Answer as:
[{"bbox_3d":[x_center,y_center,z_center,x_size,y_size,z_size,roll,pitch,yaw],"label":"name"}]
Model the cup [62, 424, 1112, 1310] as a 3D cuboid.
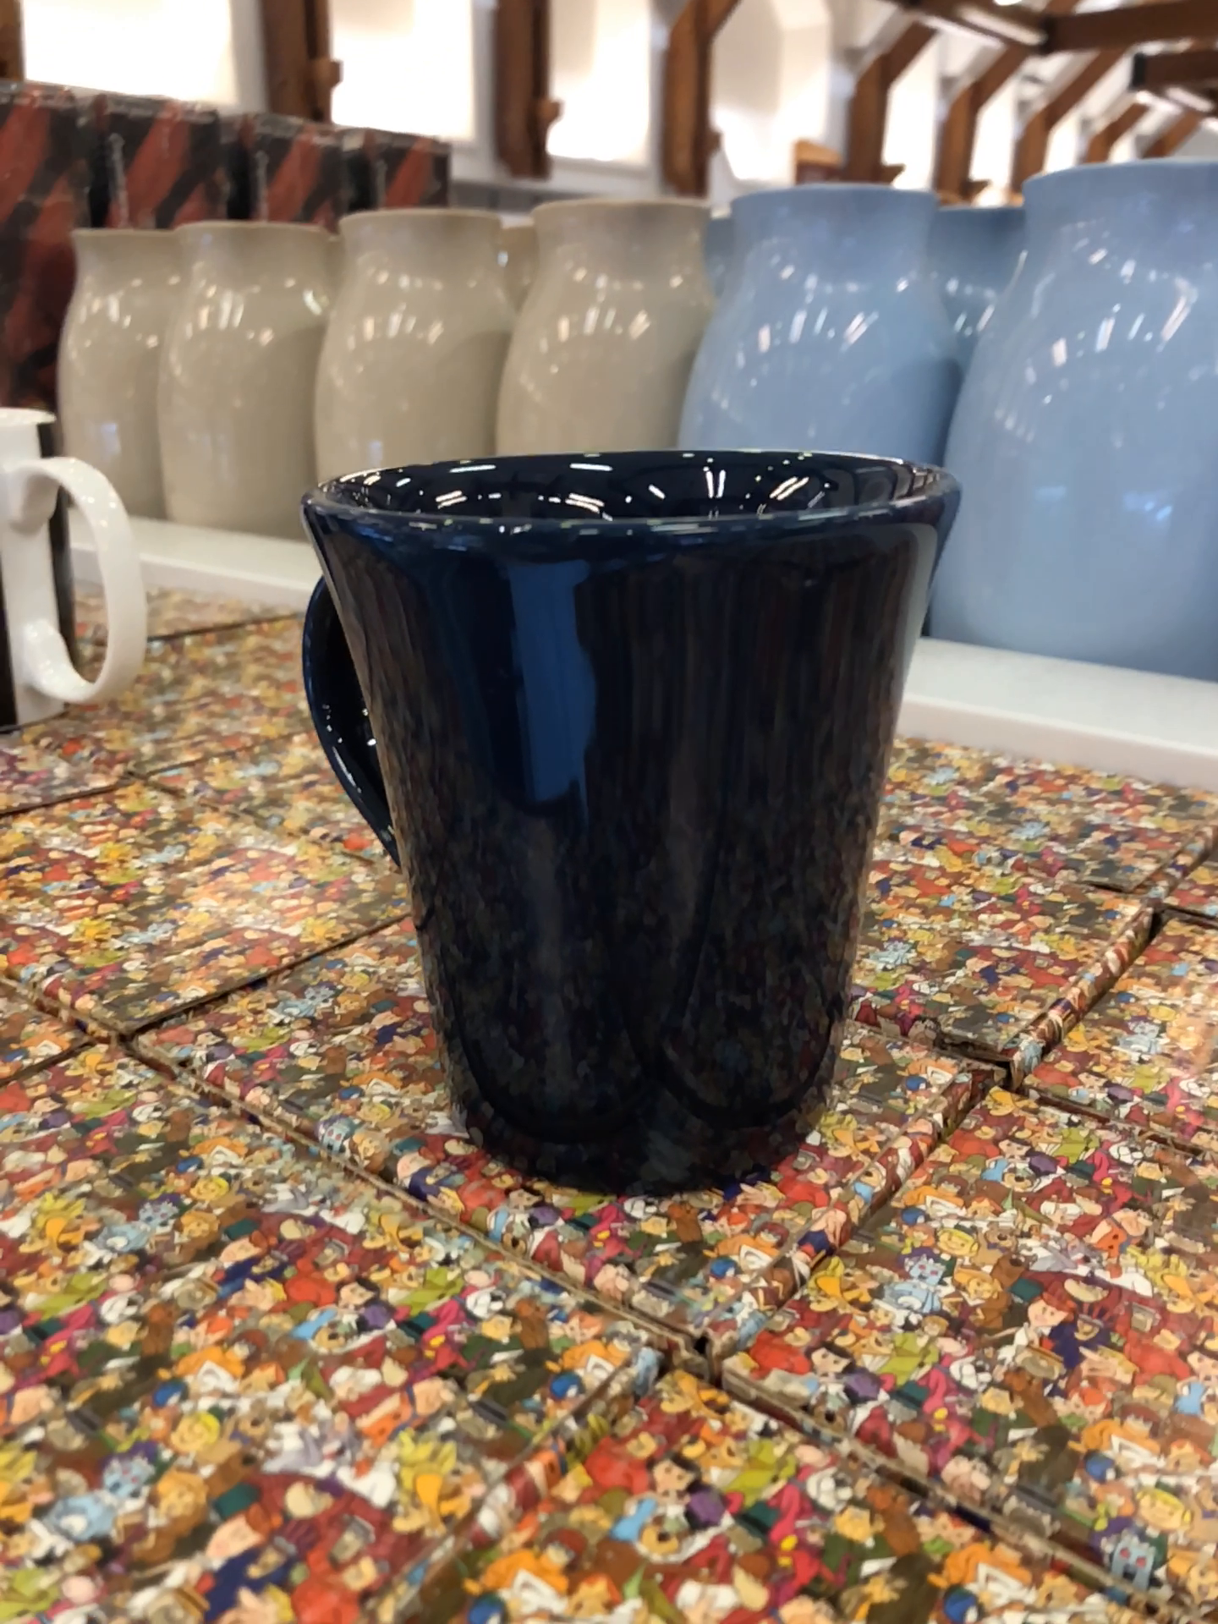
[{"bbox_3d":[-0.002,-0.010,0.216,0.120,0.089,0.100,14,24,34],"label":"cup"}]
